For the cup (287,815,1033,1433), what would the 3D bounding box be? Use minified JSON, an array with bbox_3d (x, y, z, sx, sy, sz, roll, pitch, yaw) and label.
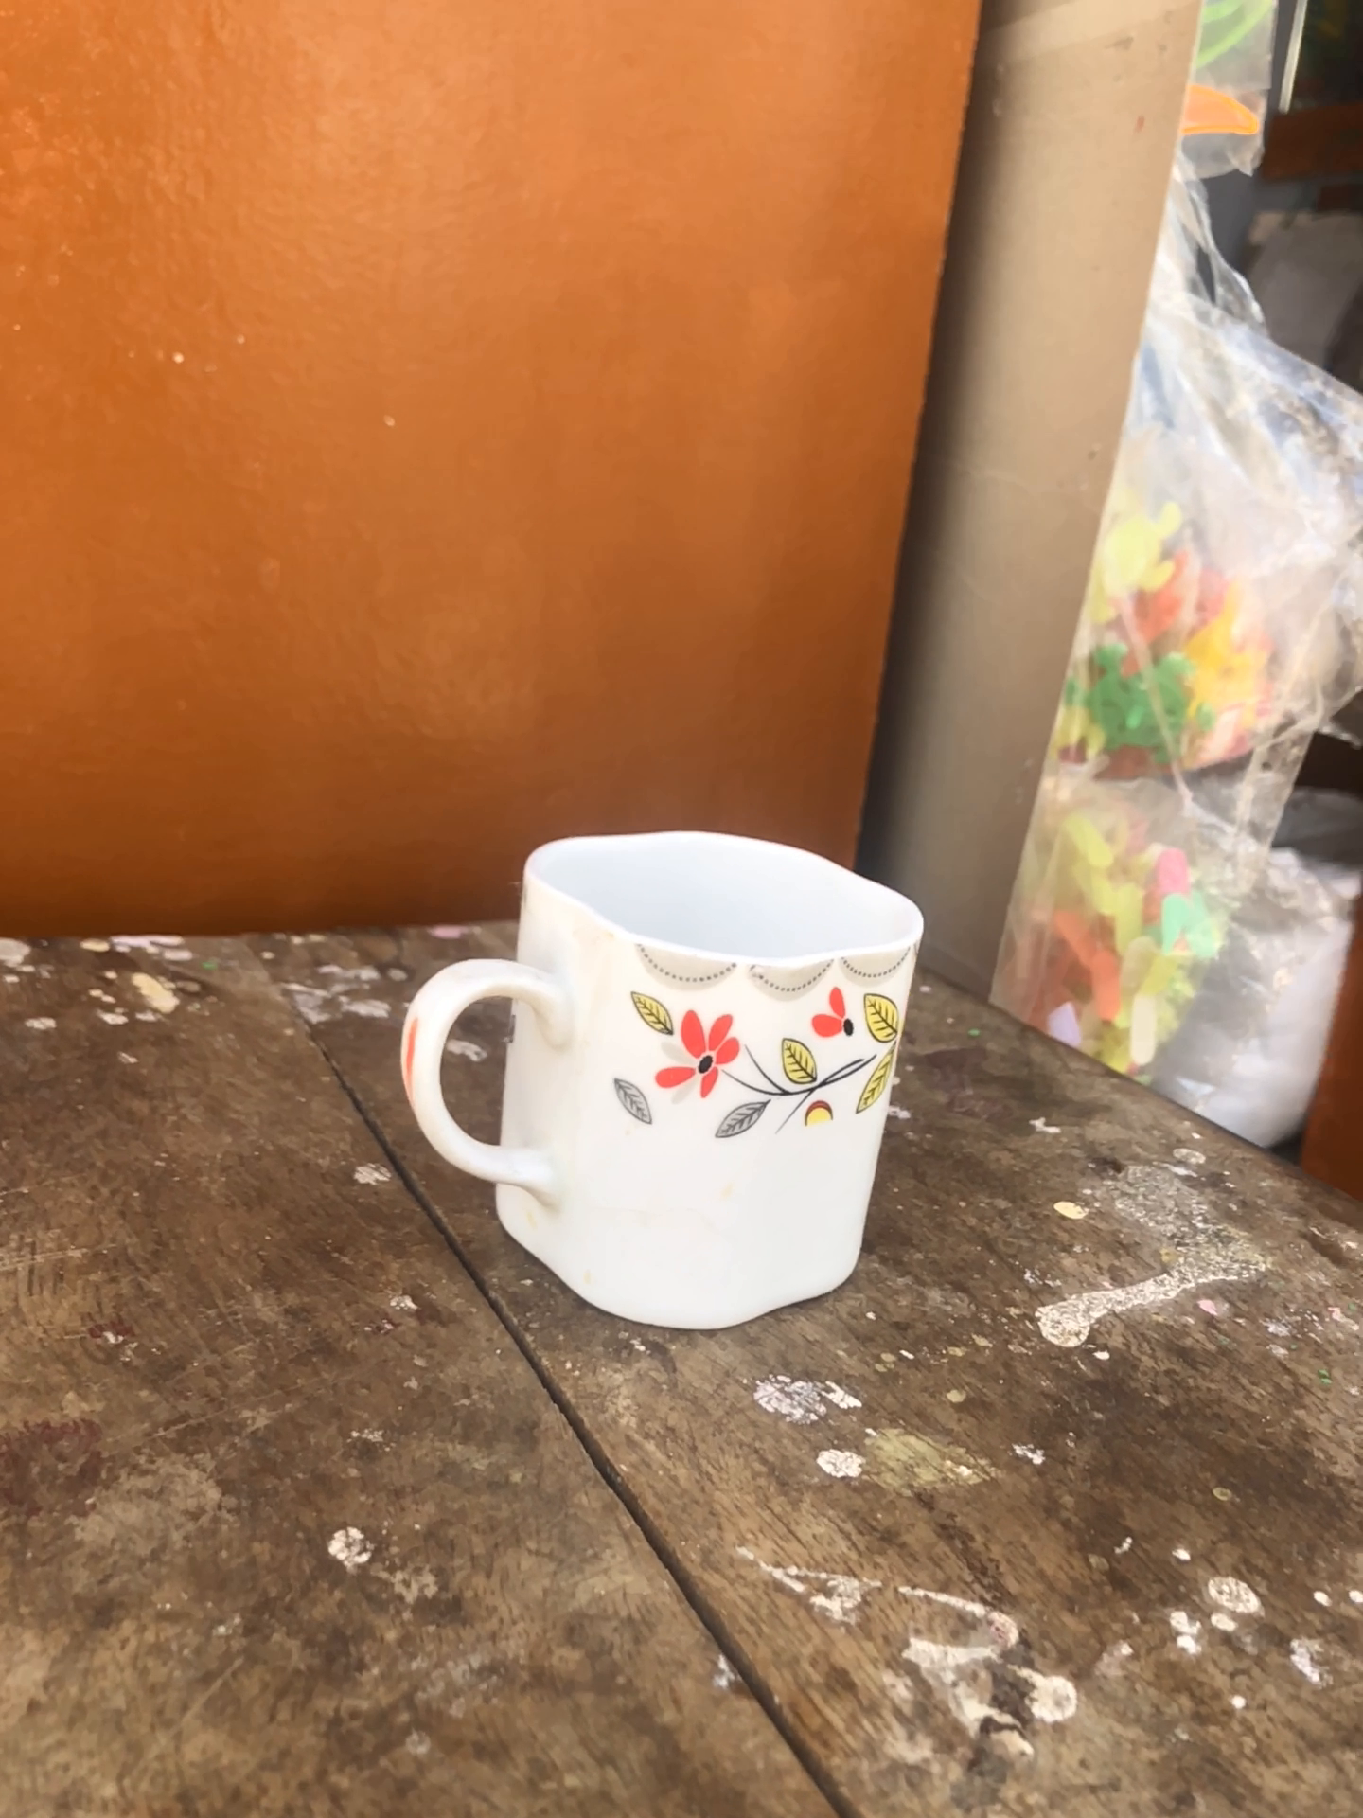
[{"bbox_3d":[-0.005,0.024,0.232,0.090,0.060,0.060,-6,20,-35],"label":"cup"}]
